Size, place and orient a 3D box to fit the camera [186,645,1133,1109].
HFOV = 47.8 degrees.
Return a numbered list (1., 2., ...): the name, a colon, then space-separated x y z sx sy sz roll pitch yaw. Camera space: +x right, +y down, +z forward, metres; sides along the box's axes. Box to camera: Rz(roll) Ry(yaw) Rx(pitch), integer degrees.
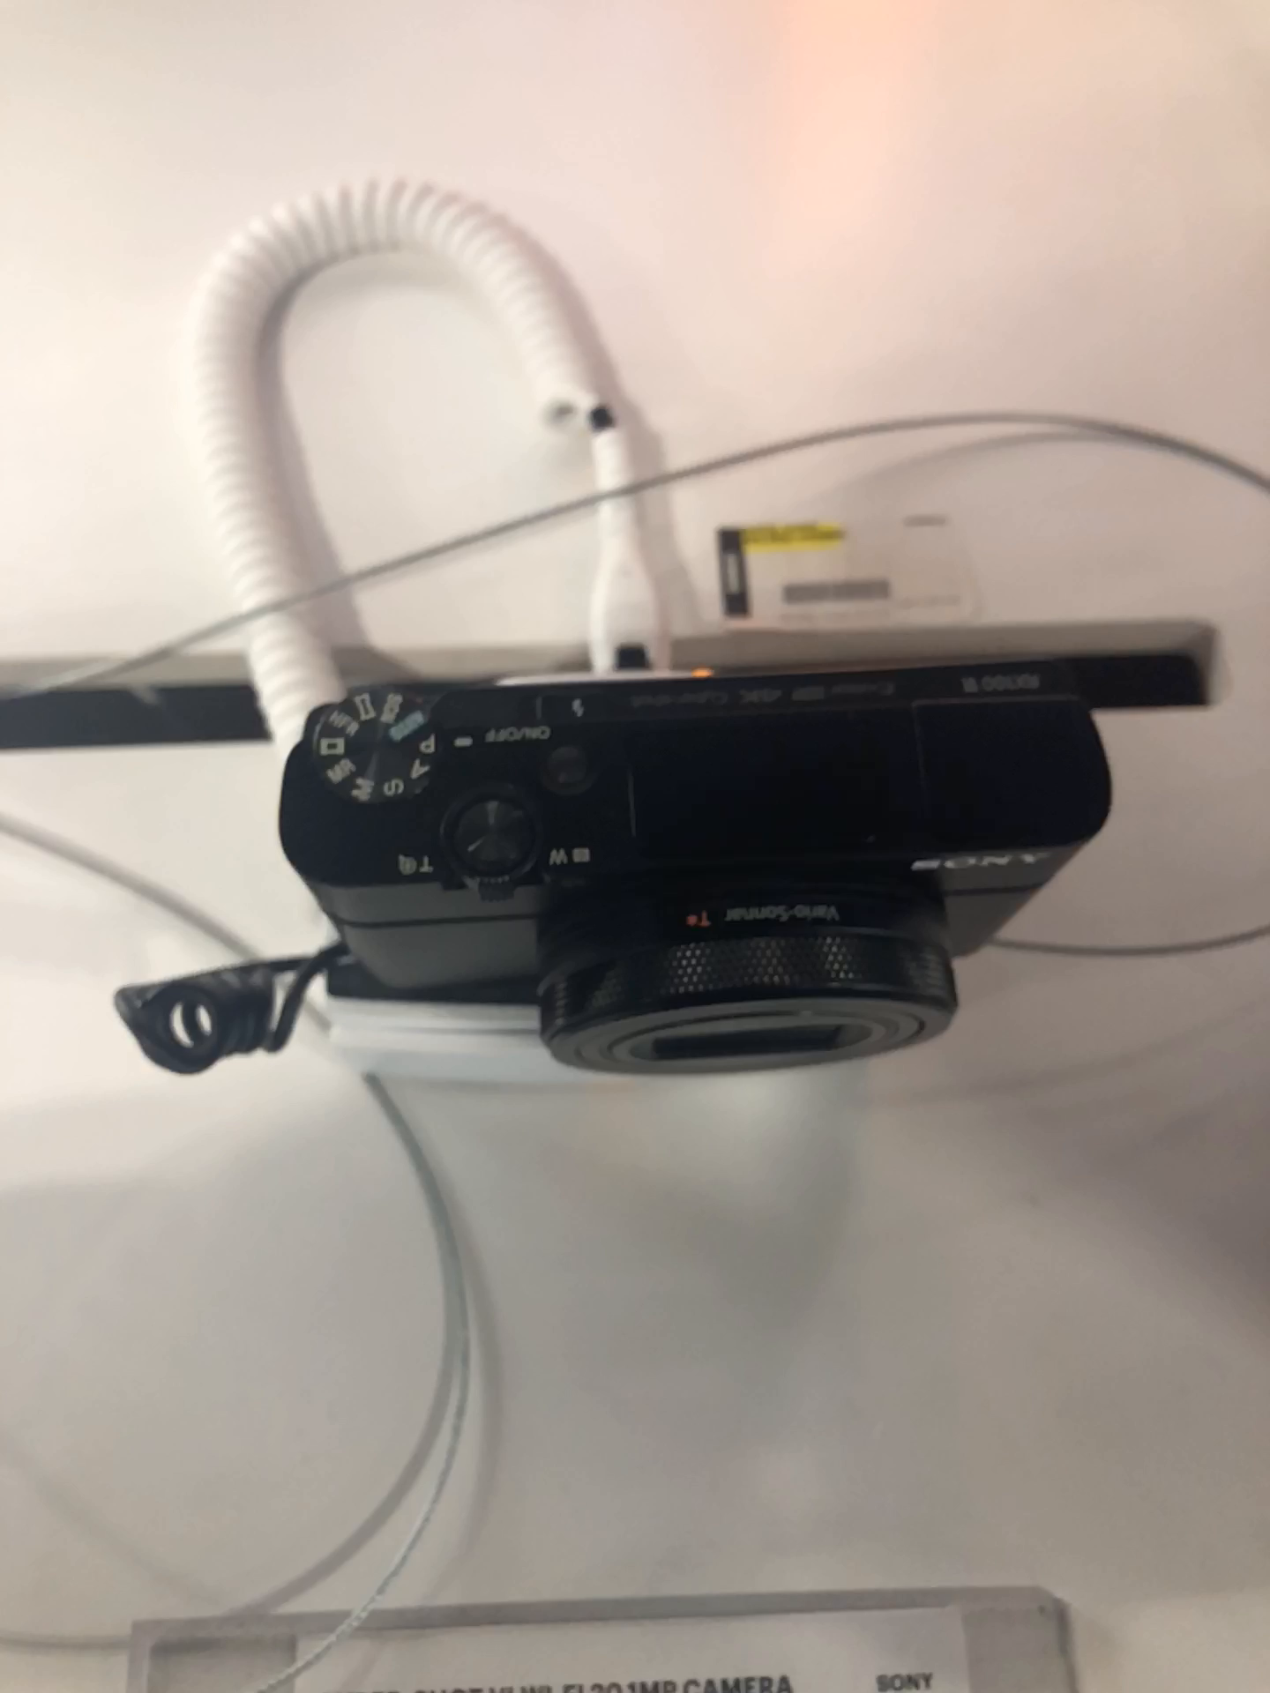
1. camera: 0.002 0.007 0.199 0.109 0.060 0.040 -3 68 -3
